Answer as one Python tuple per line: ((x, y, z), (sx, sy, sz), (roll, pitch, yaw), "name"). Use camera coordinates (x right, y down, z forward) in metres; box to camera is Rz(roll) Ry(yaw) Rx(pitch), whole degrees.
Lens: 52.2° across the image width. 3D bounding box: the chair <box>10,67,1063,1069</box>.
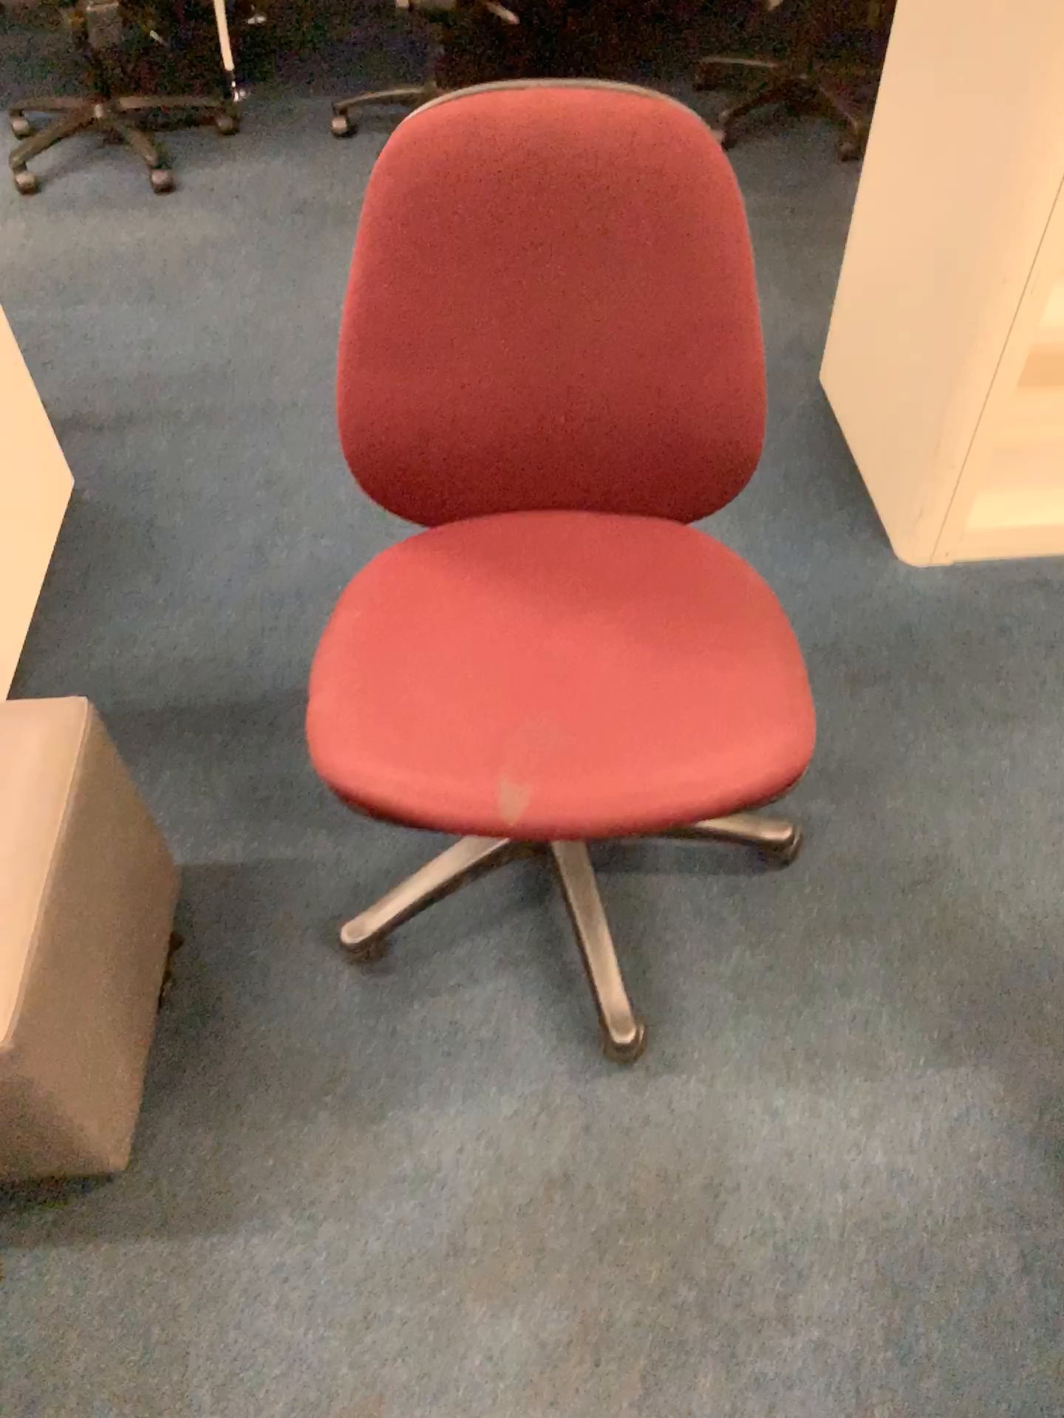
((0.032, -0.112, 1.150), (0.650, 0.783, 0.696), (0, 50, 1), "chair")
